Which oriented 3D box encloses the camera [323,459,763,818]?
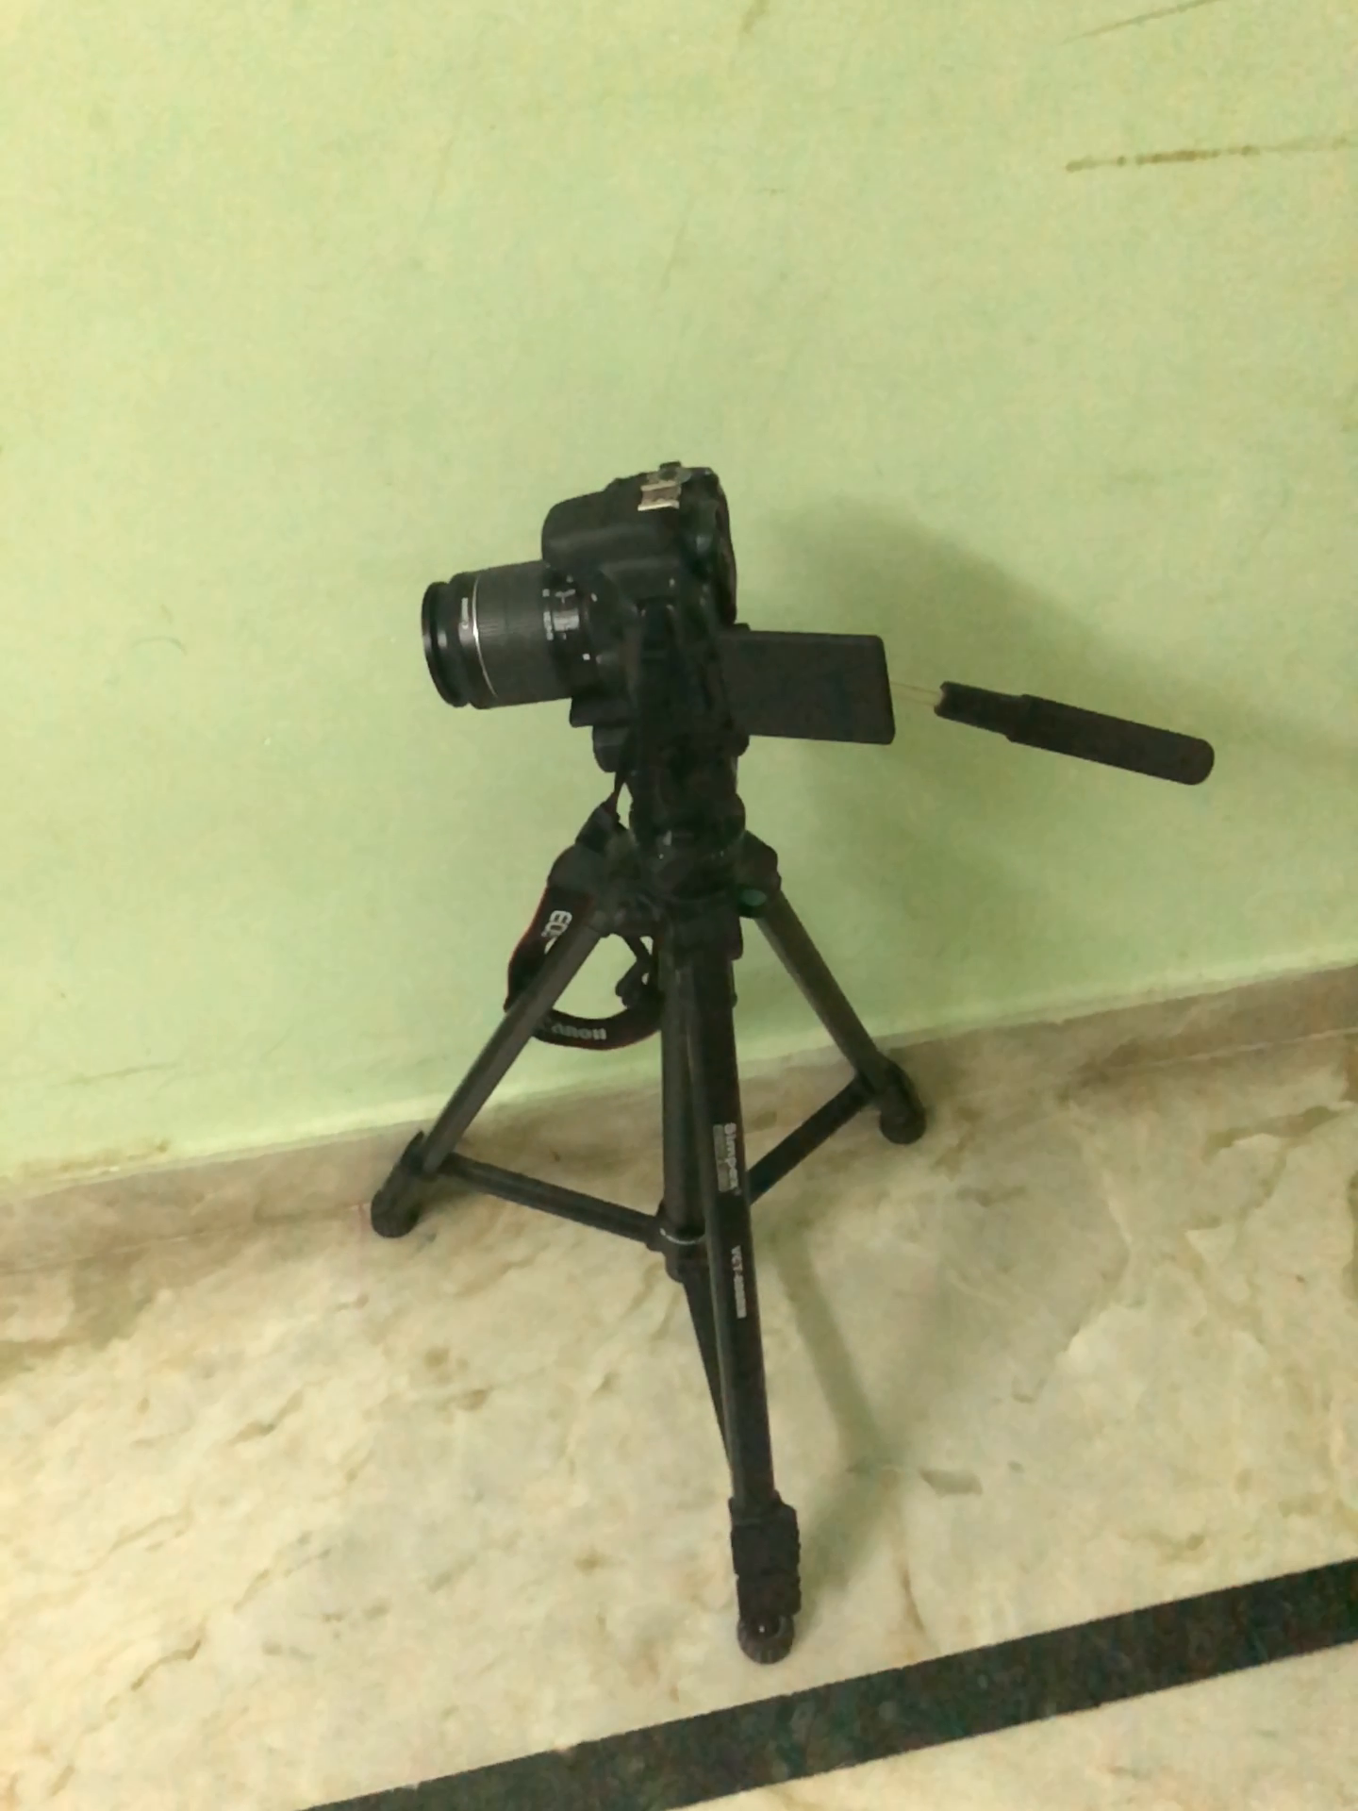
[{"bbox_3d":[-0.062,-0.134,0.744,0.190,0.099,0.131,-6,44,3],"label":"camera"}]
